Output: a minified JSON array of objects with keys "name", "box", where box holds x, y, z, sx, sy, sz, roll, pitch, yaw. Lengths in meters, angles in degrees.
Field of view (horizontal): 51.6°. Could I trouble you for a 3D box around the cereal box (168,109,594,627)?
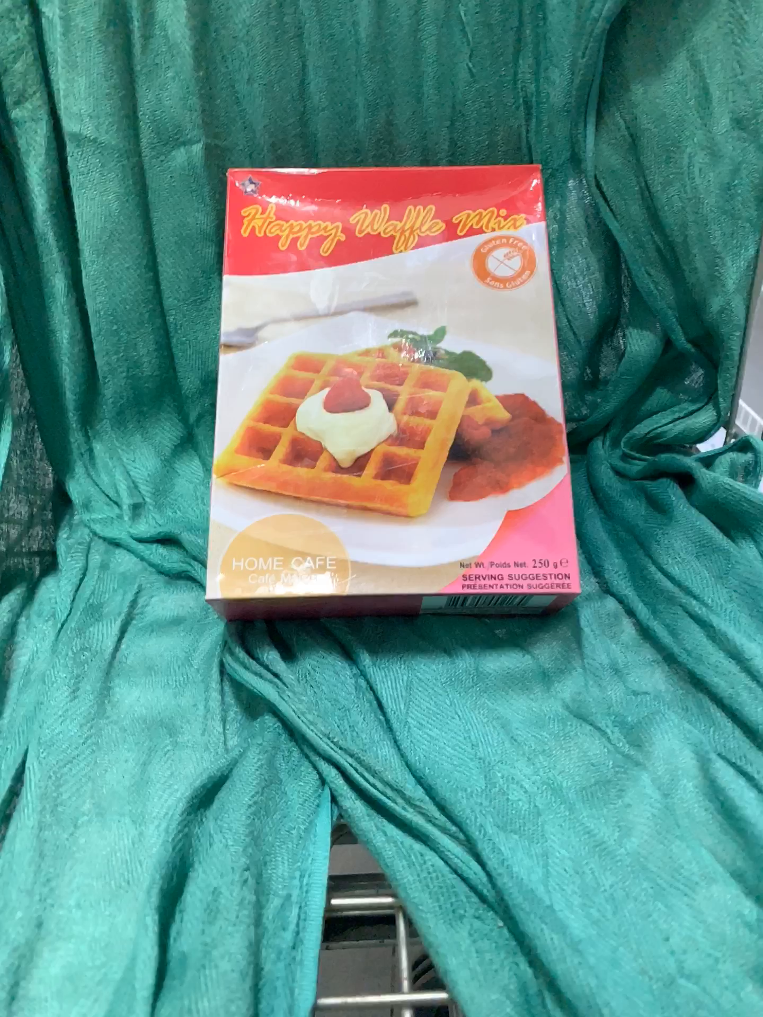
[{"name":"cereal box","box":[-0.001,-0.051,0.289,0.130,0.180,0.050,-1,-16,1]}]
